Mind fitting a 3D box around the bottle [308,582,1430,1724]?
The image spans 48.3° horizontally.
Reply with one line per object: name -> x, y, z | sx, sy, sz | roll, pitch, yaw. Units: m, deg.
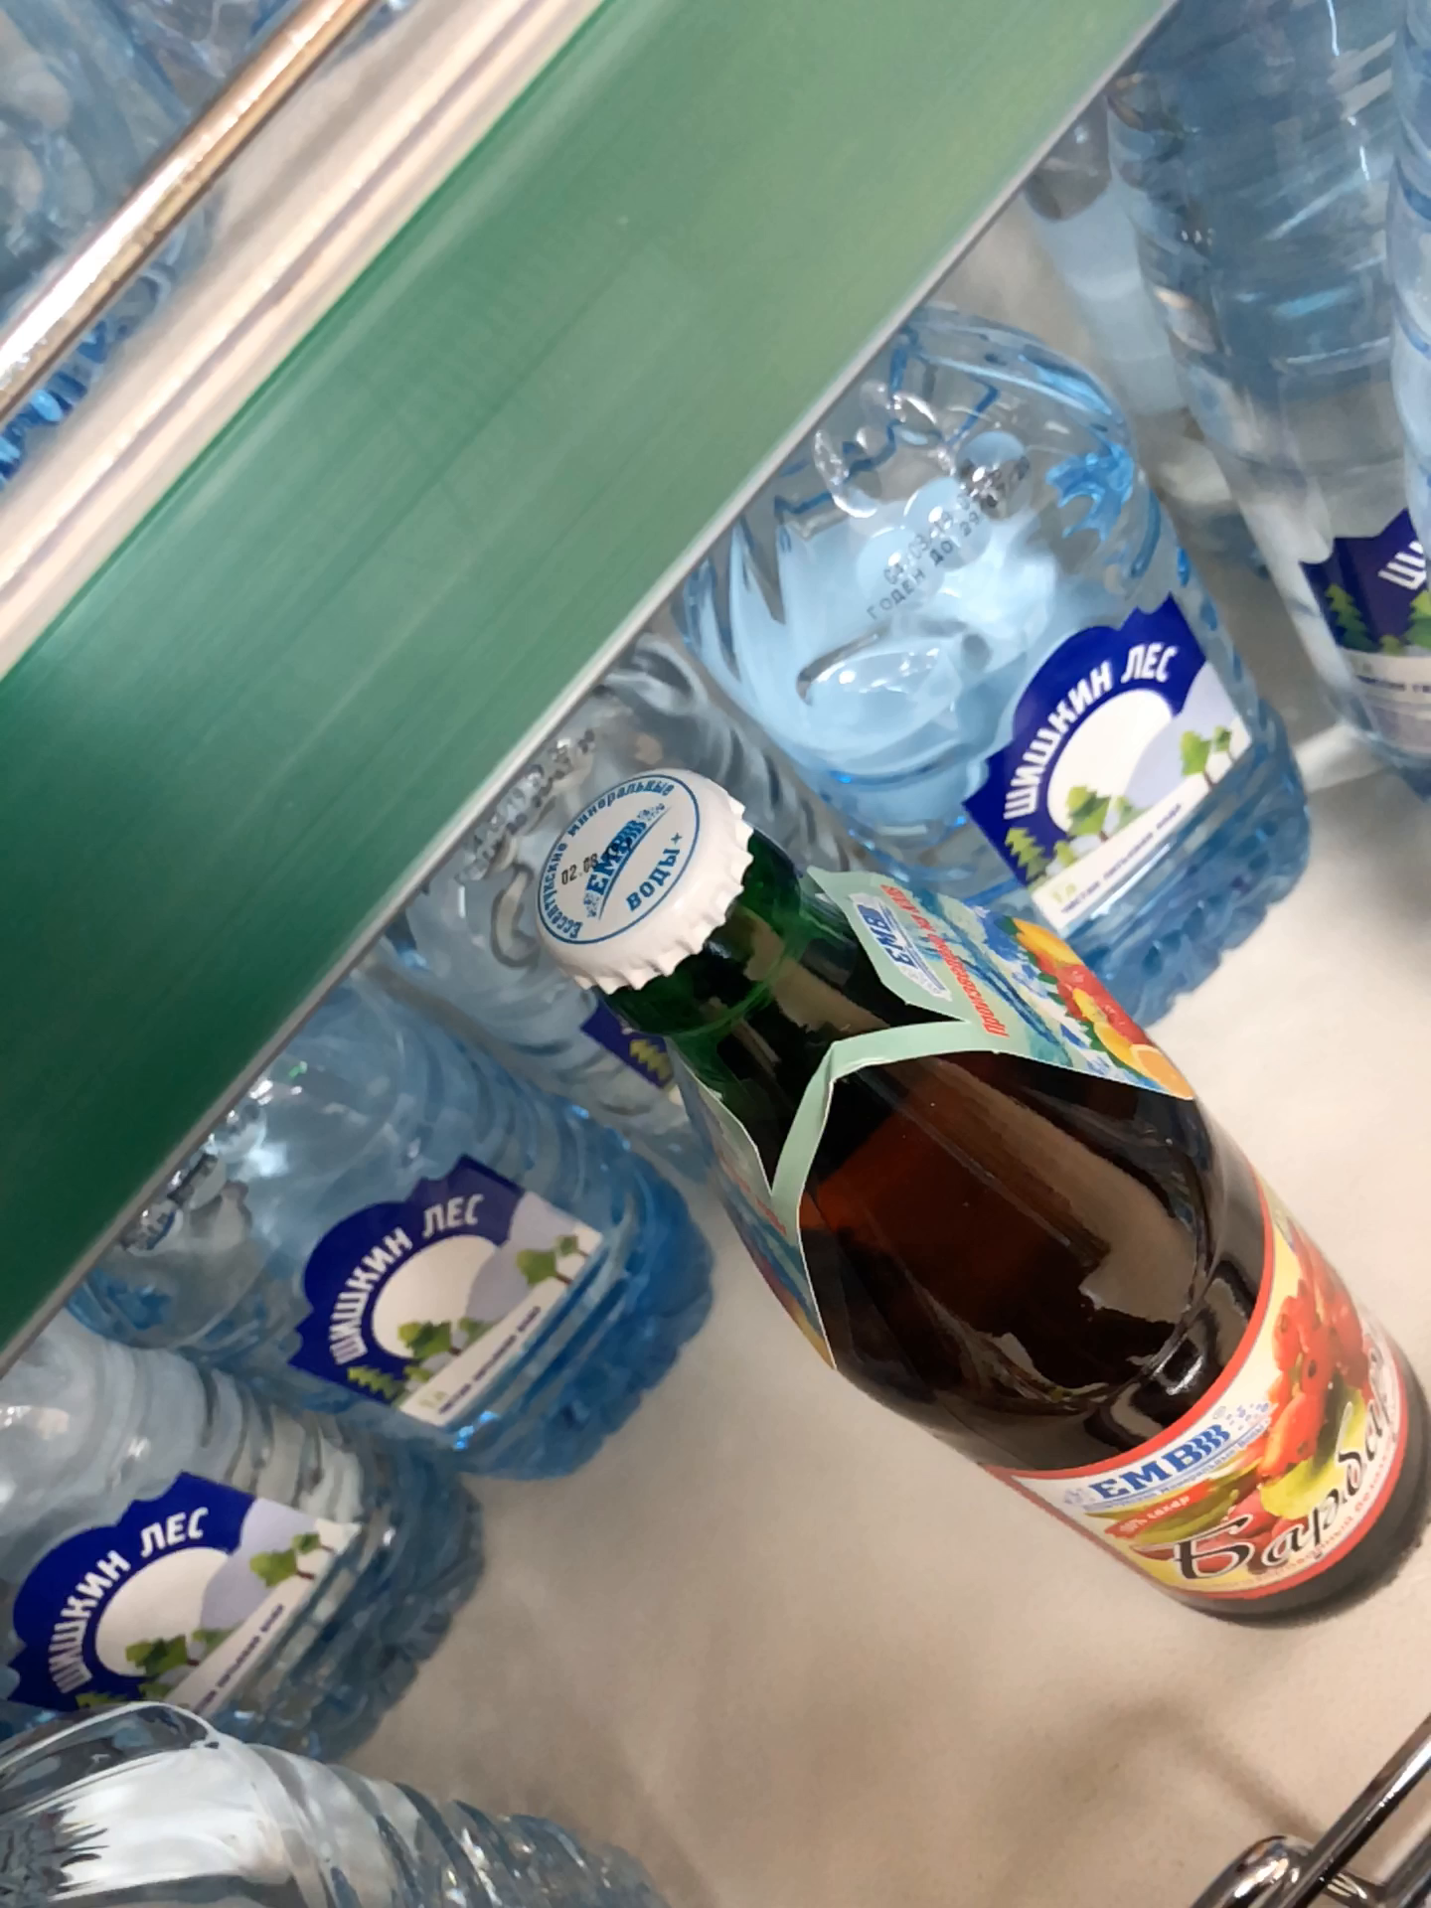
bottle -> 0.052, 0.050, 0.243 | 0.073, 0.222, 0.057 | -48, 43, 1
